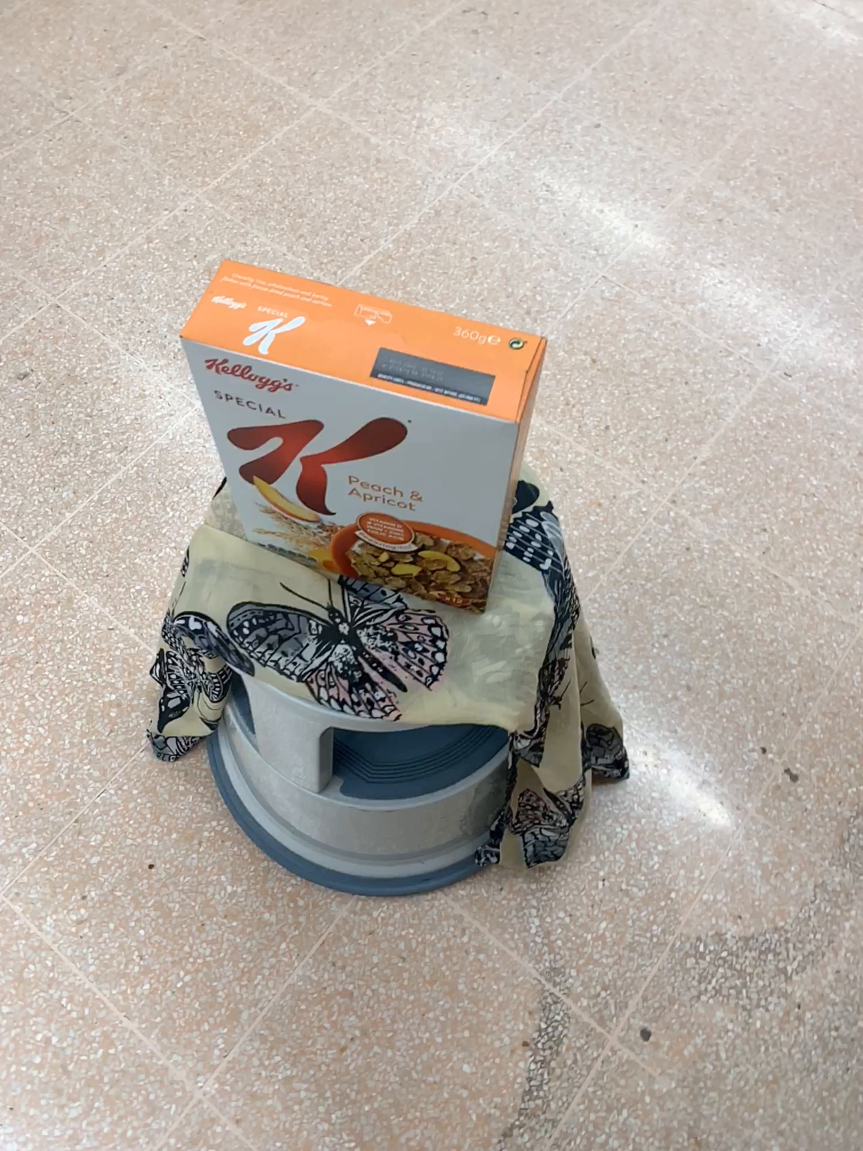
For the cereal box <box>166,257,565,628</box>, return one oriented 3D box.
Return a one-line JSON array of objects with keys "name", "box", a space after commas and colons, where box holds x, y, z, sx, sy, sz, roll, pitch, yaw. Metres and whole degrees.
[{"name": "cereal box", "box": [-0.040, -0.071, 0.603, 0.210, 0.269, 0.060, 16, 65, 6]}]
